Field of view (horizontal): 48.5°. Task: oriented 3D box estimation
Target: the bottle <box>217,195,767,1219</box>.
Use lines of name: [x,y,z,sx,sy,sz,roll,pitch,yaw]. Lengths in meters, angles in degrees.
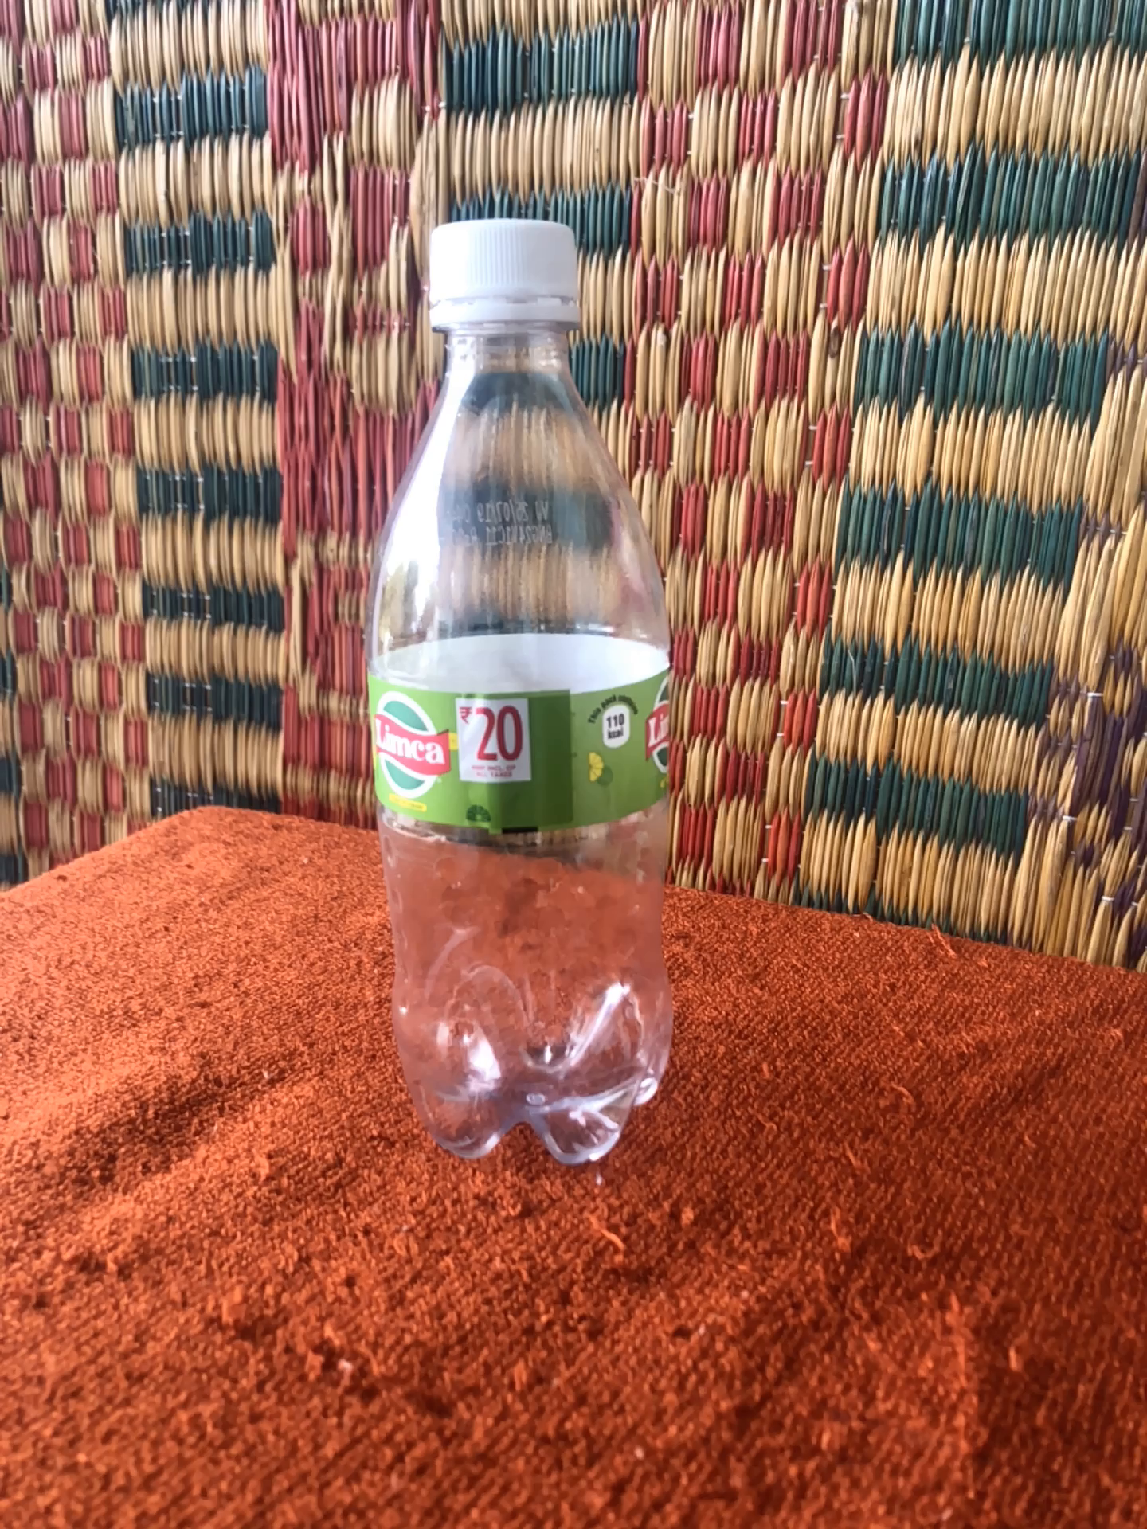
bottle: [-0.011,-0.012,0.219,0.060,0.149,0.060,0,18,0]
